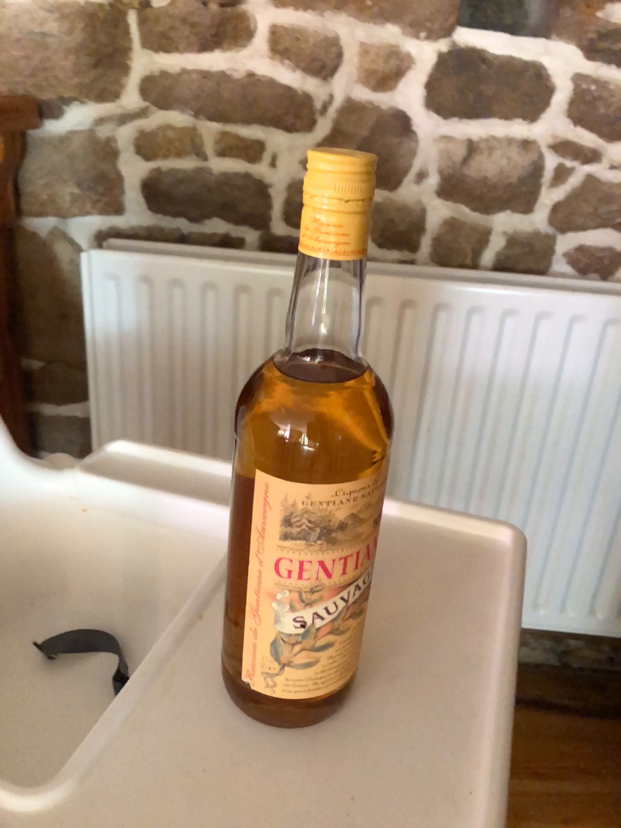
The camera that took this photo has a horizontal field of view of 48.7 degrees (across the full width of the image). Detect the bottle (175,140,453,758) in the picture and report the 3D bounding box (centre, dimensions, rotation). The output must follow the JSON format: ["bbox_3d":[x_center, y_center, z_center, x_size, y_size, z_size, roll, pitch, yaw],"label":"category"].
[{"bbox_3d":[-0.010,0.023,0.354,0.090,0.298,0.080,-11,29,-30],"label":"bottle"}]
